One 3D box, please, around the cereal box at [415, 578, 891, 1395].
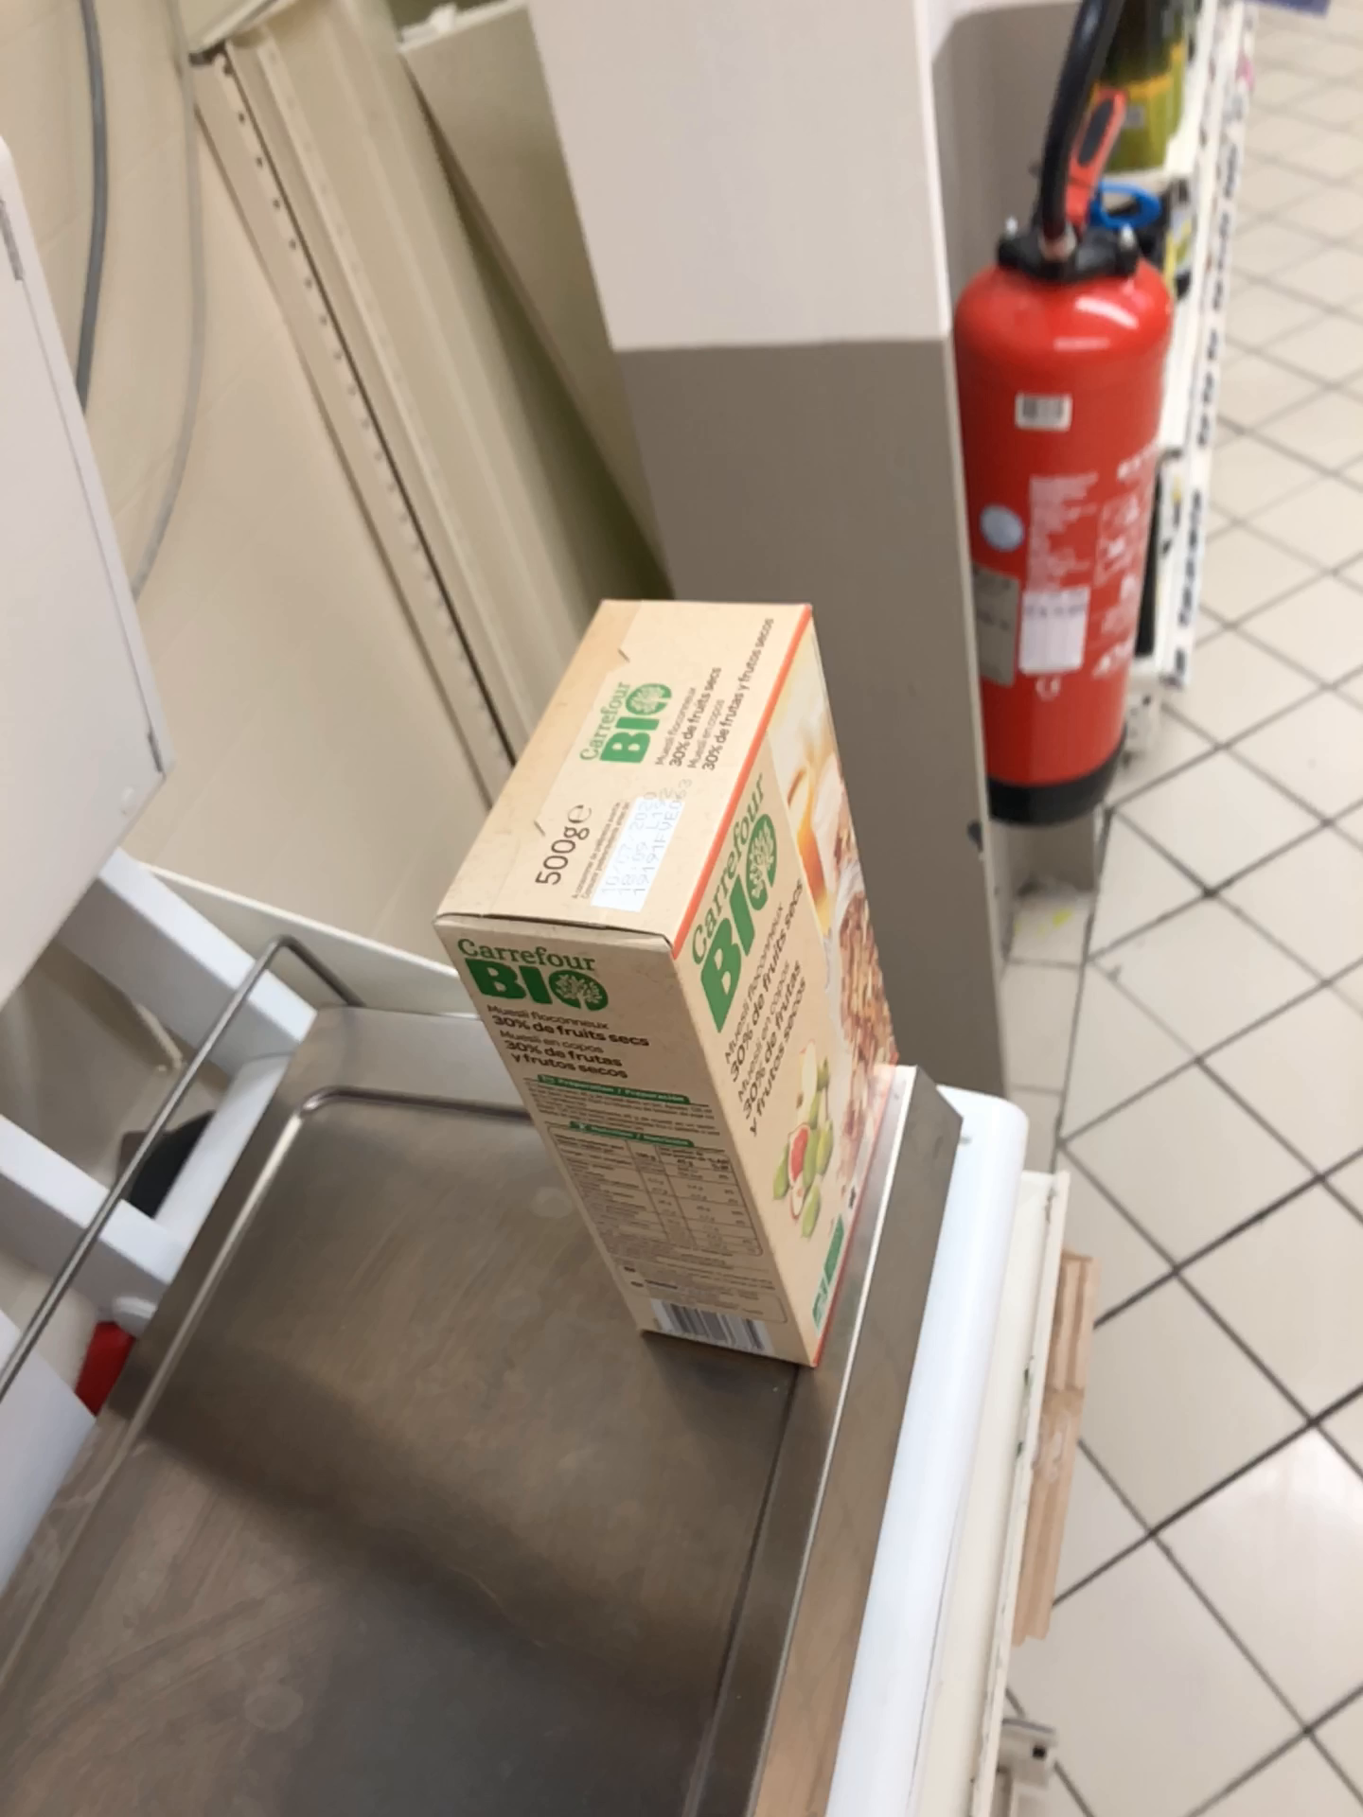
[{"bbox_3d":[0.008,0.030,0.440,0.060,0.209,0.131,6,51,20],"label":"cereal box"}]
